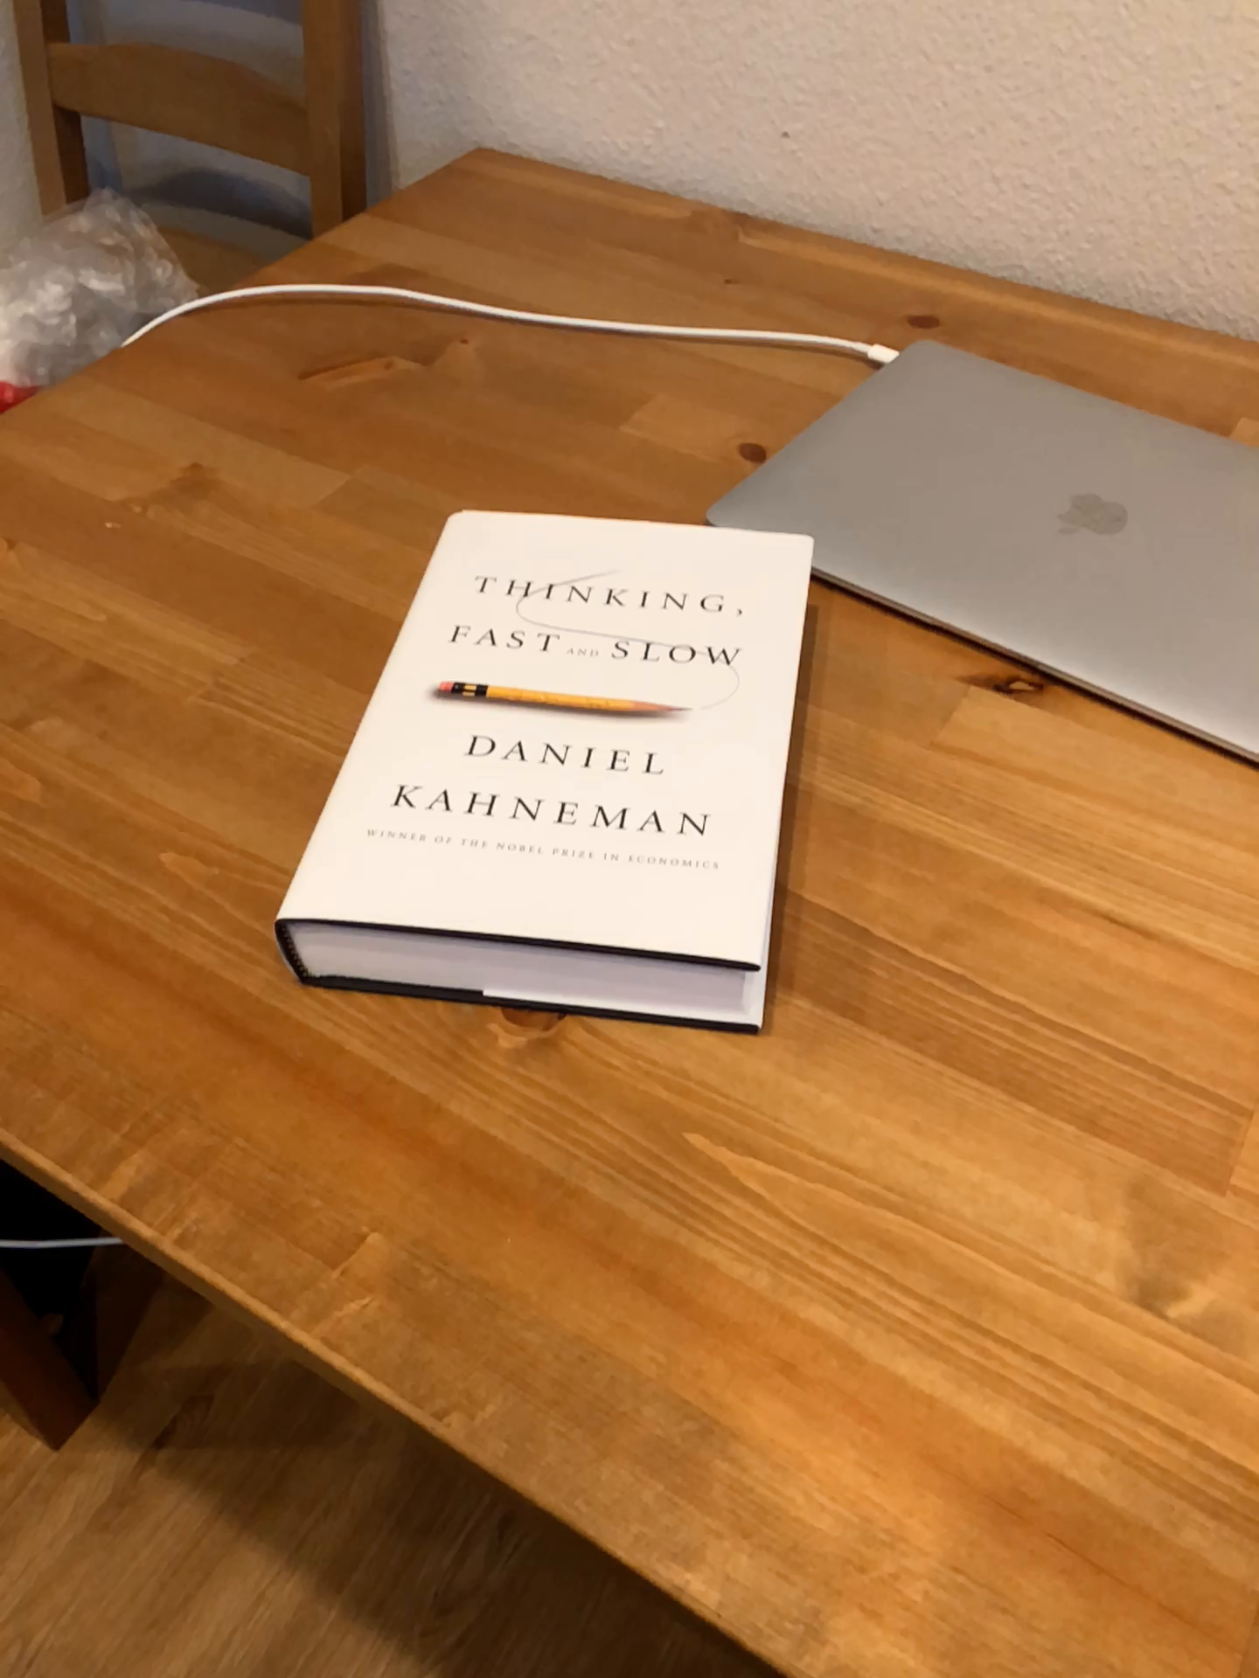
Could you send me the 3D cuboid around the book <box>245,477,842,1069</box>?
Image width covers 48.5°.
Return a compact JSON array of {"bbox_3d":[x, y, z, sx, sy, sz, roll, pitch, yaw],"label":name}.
[{"bbox_3d":[-0.016,-0.042,0.550,0.180,0.060,0.251,6,47,6],"label":"book"}]
